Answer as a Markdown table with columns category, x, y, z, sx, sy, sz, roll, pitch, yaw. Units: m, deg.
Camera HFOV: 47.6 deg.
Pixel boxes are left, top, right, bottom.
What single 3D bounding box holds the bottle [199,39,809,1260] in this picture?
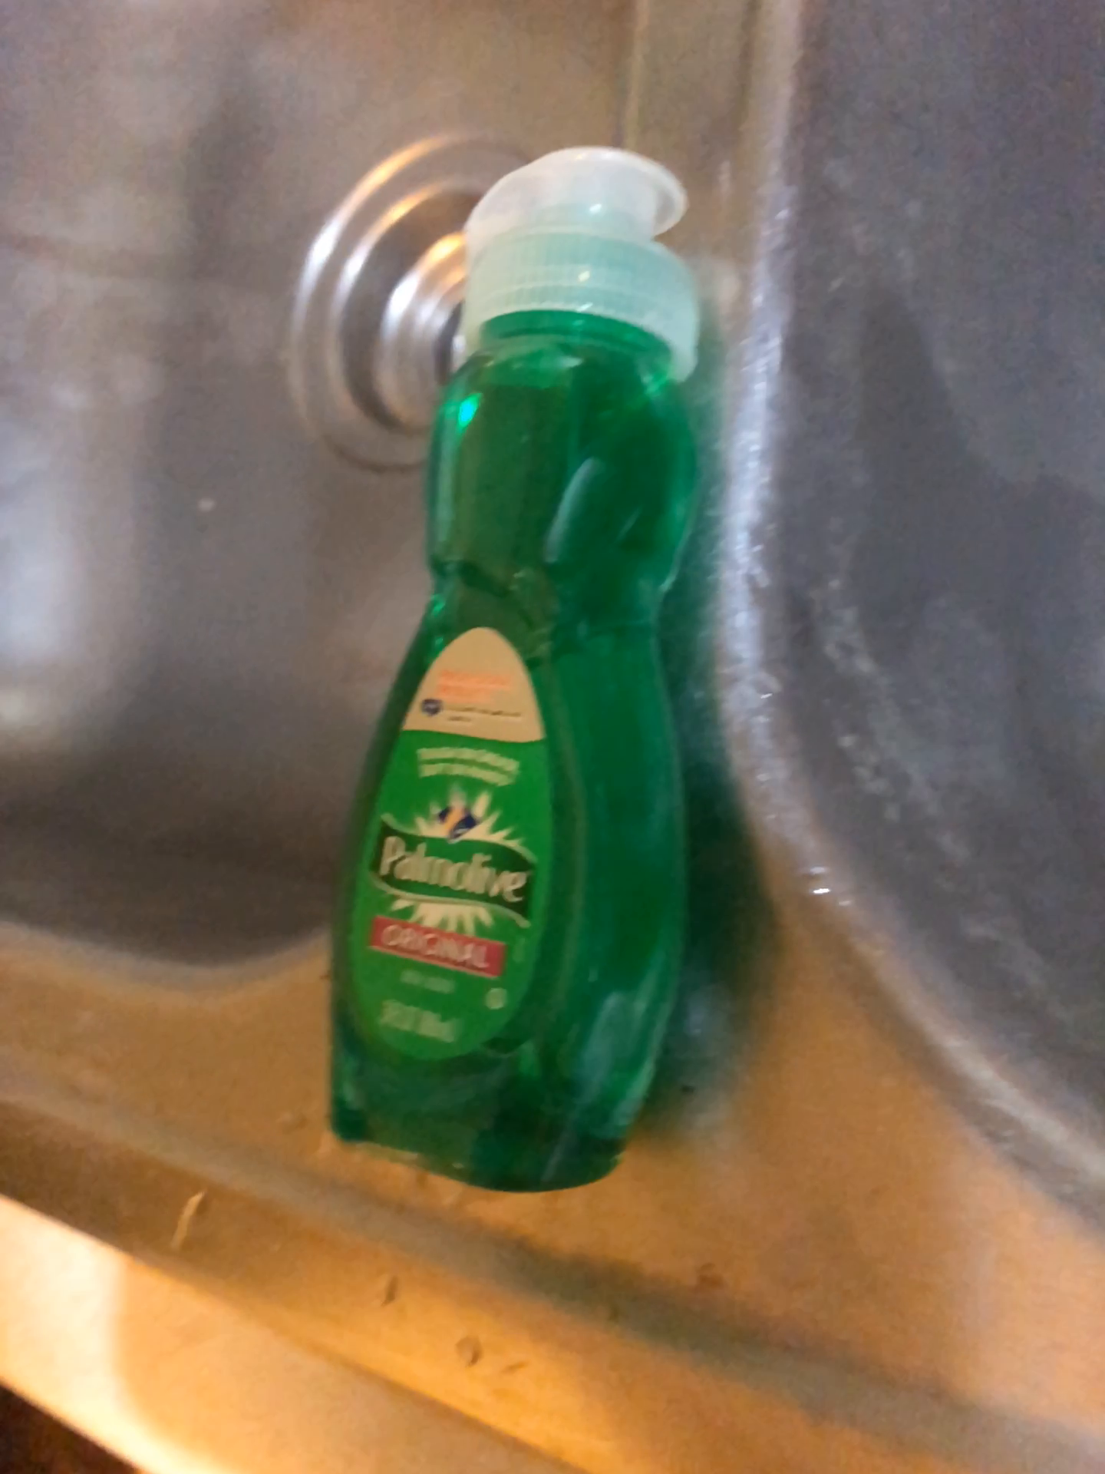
| category | x | y | z | sx | sy | sz | roll | pitch | yaw |
| --- | --- | --- | --- | --- | --- | --- | --- | --- | --- |
| bottle | -0.005 | -0.011 | 0.157 | 0.050 | 0.030 | 0.130 | 4 | 82 | 35 |
